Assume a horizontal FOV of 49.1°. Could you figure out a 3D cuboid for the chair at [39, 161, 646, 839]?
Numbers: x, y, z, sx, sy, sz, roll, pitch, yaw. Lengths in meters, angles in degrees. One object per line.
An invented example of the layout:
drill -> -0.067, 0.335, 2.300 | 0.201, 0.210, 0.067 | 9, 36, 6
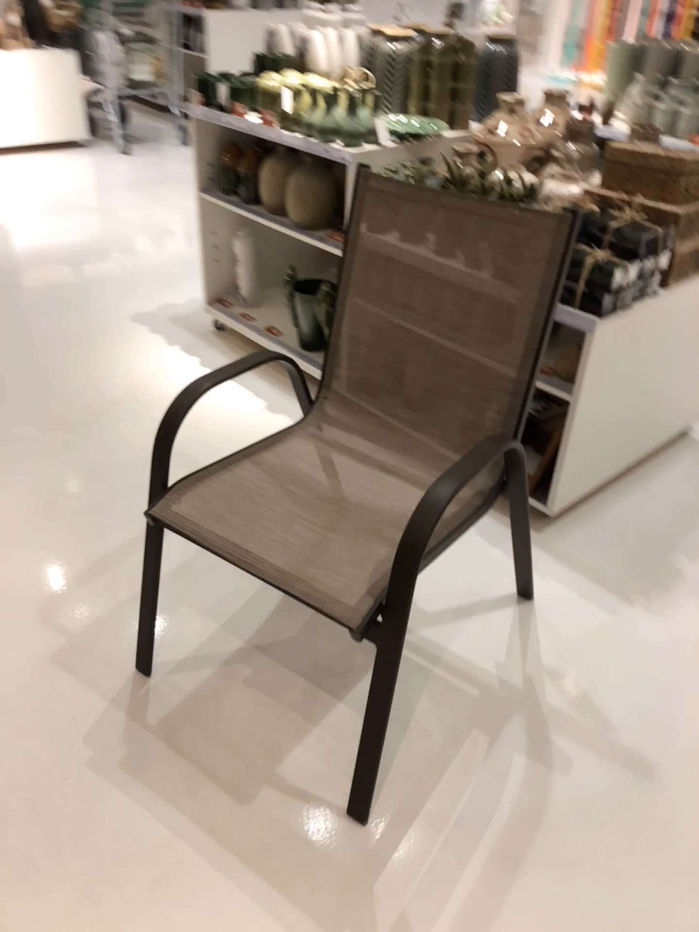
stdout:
chair -> 0.015, -0.013, 1.351 | 0.601, 0.794, 0.704 | 23, 39, 28
